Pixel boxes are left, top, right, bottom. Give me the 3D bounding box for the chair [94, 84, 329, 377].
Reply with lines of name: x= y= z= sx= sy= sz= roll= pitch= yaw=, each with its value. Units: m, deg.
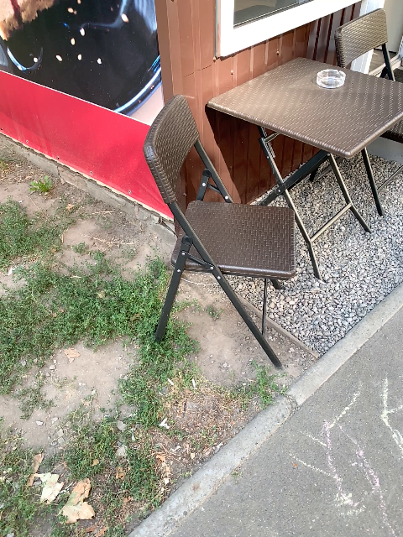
chair: x=0.061 y=-0.100 z=1.213 sx=0.470 sy=0.687 sz=0.472 roll=5 pitch=44 yaw=8
